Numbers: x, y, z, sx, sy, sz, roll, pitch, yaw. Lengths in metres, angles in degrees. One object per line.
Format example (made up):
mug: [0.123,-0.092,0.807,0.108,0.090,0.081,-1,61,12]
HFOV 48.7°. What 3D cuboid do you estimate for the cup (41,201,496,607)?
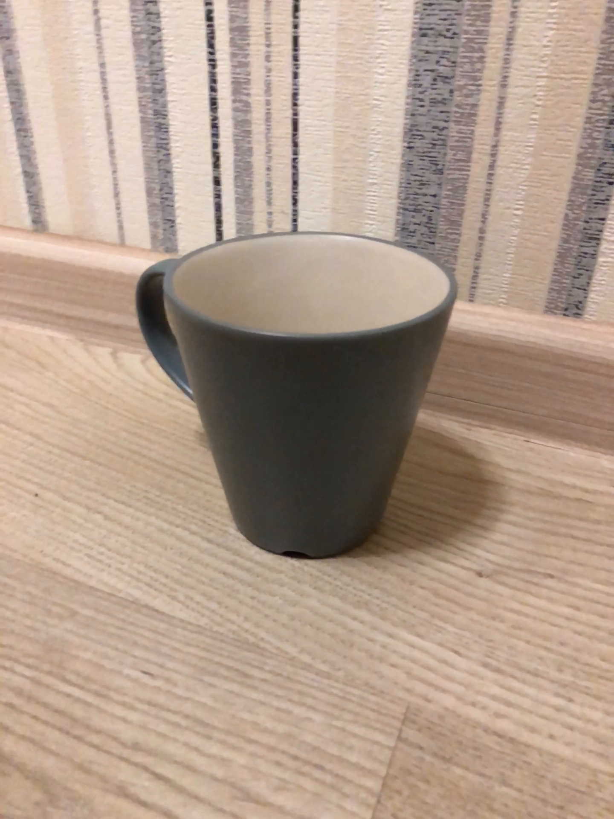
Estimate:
cup: [-0.013,-0.015,0.256,0.124,0.089,0.096,20,35,29]
